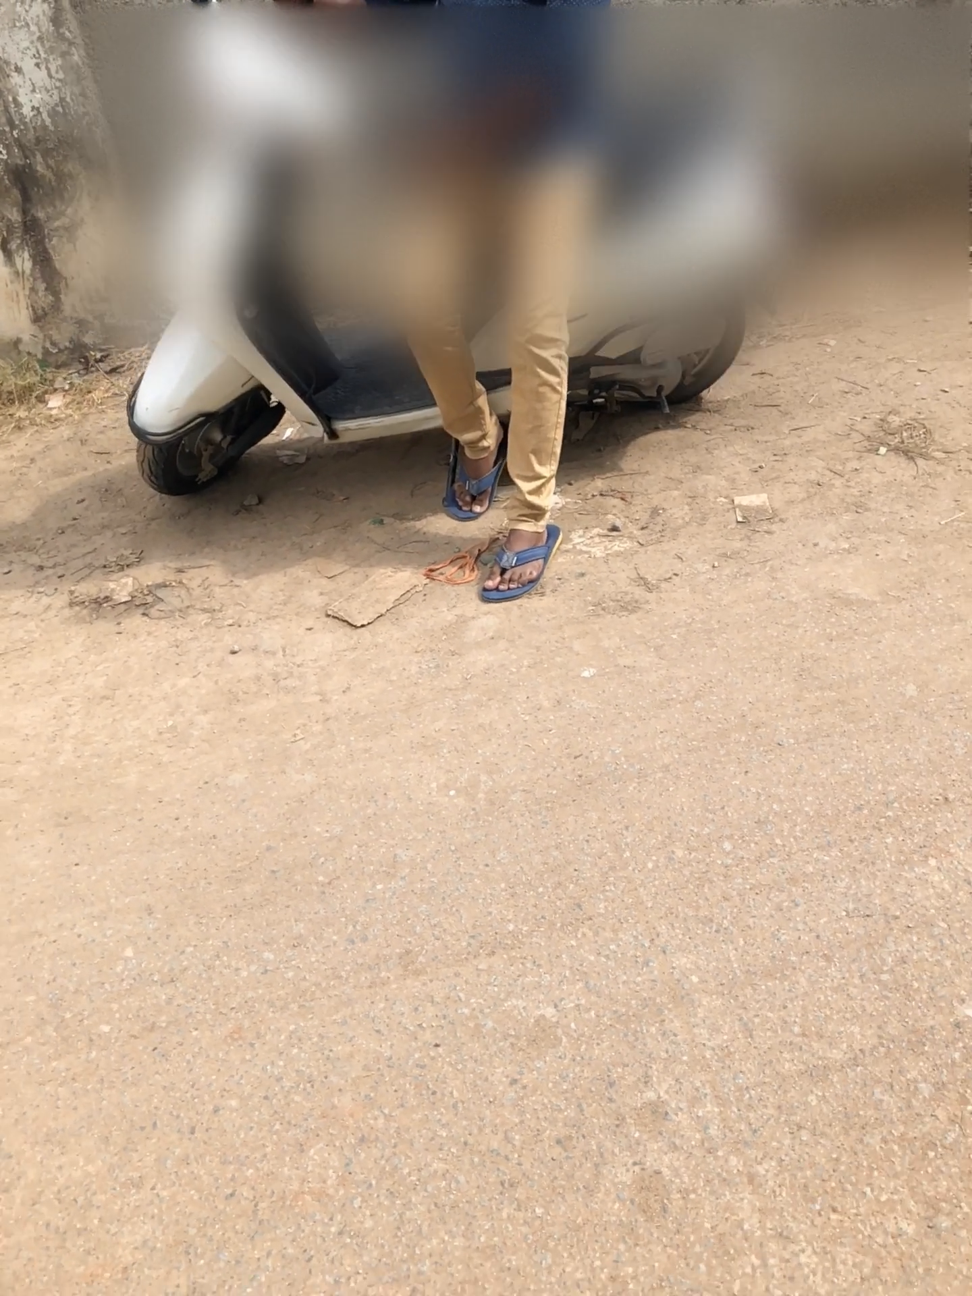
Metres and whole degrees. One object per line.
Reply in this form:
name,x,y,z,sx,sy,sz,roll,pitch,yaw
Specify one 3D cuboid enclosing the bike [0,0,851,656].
bike,-0.110,-0.826,2.430,1.624,1.139,0.672,-13,37,-5
